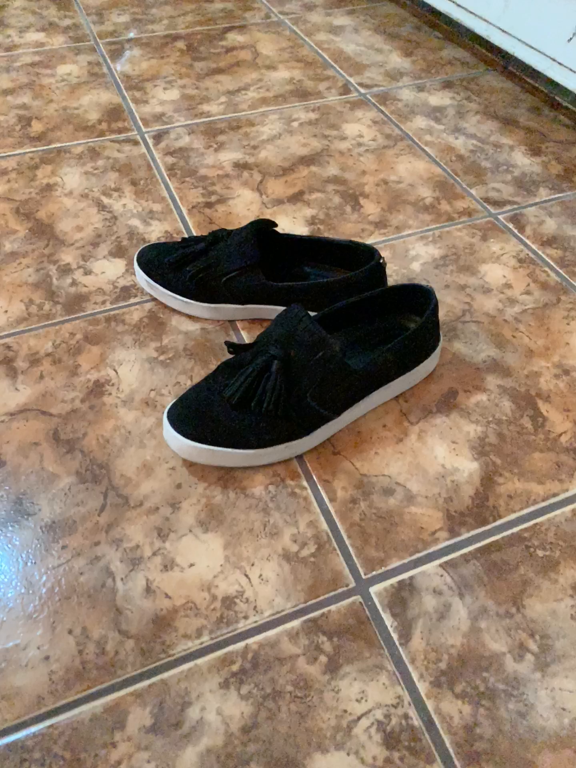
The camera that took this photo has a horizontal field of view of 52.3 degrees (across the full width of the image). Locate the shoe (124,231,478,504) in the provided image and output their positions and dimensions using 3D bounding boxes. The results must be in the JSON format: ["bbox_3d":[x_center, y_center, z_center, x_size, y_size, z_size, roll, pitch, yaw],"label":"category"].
[{"bbox_3d":[0.014,-0.022,0.470,0.250,0.093,0.098,-25,54,-21],"label":"shoe"}]

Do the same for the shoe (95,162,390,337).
[{"bbox_3d":[-0.037,-0.130,0.562,0.249,0.093,0.098,9,49,6],"label":"shoe"}]
